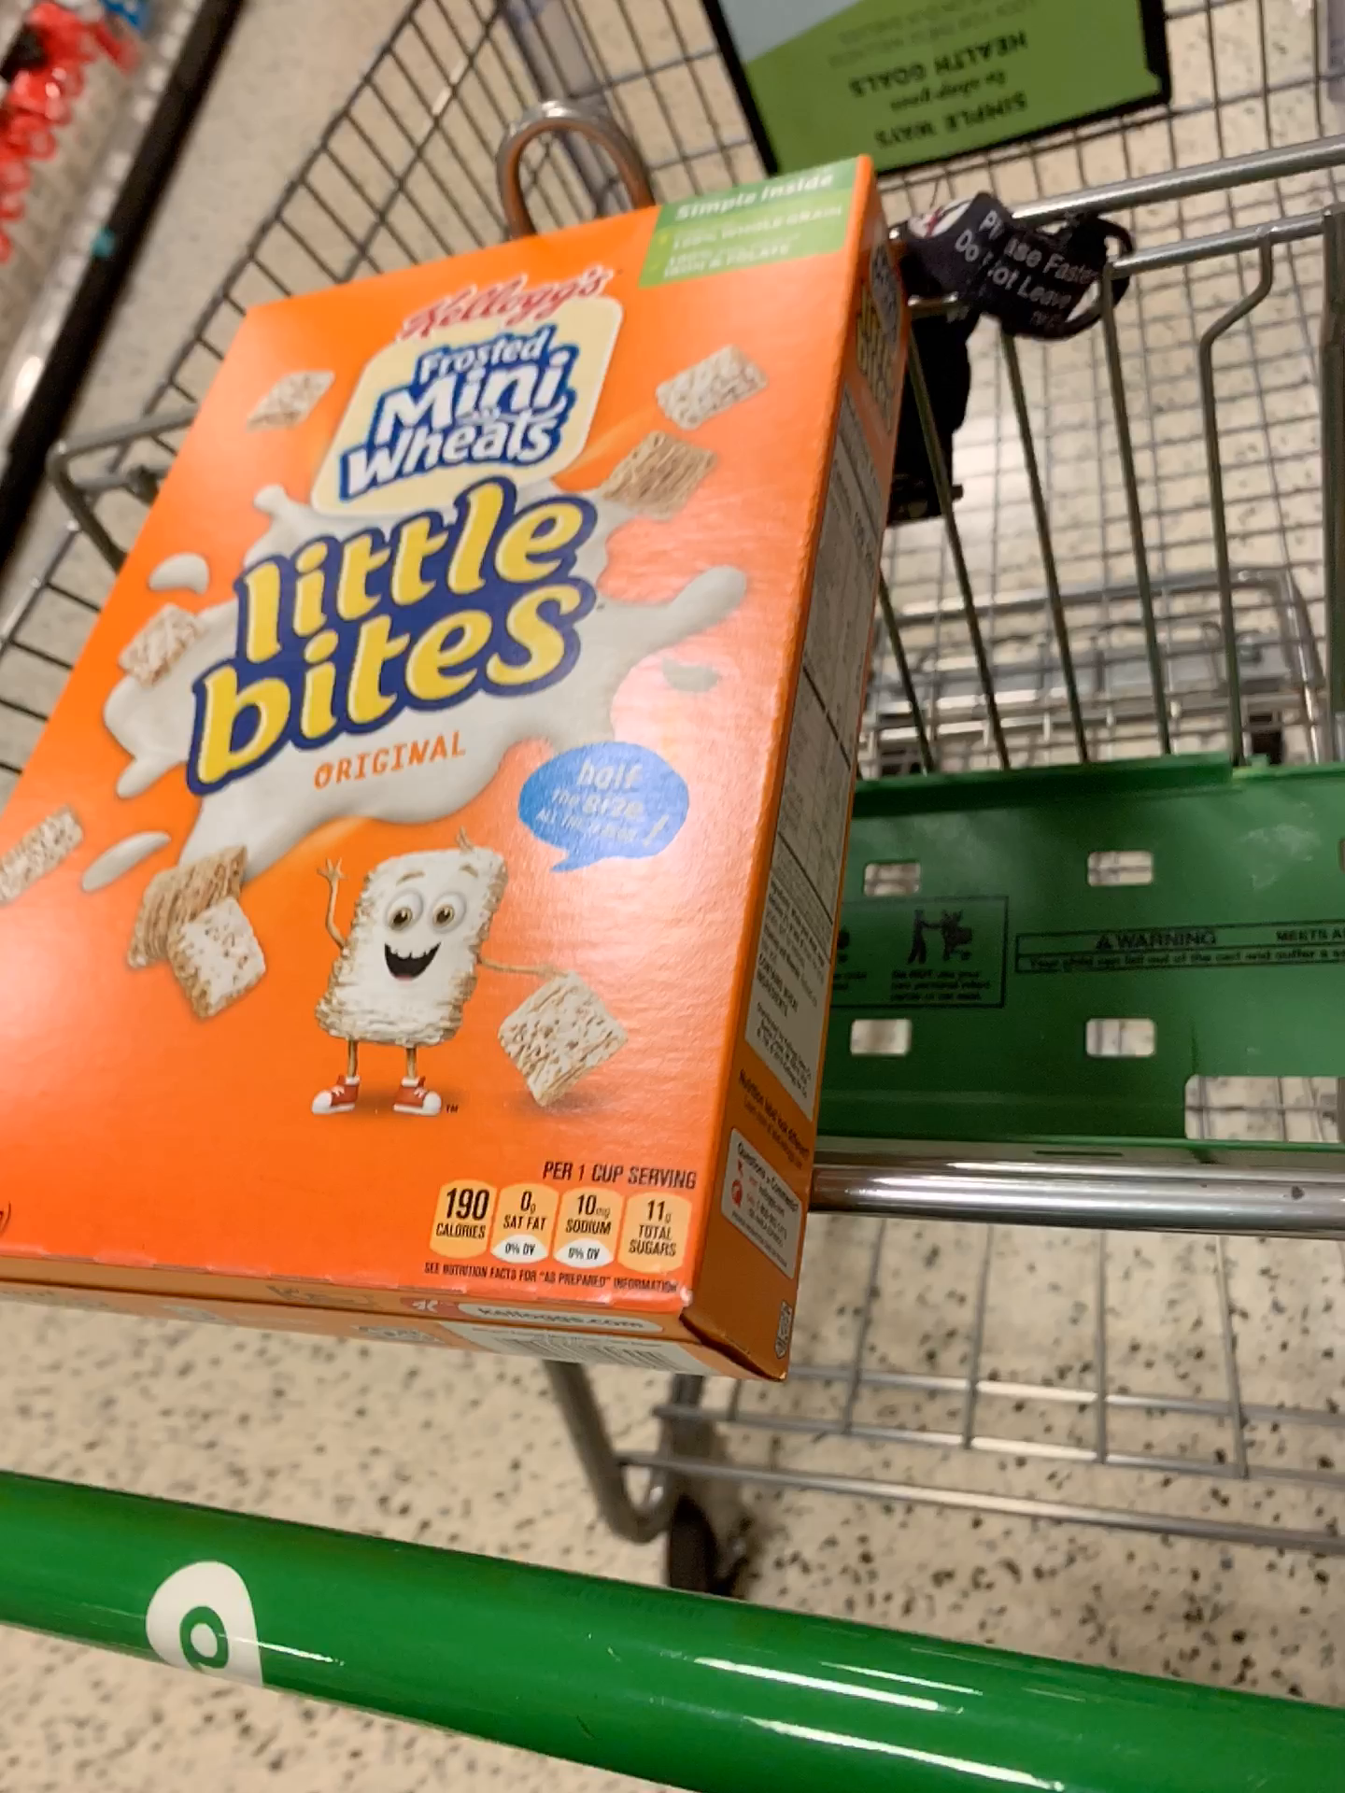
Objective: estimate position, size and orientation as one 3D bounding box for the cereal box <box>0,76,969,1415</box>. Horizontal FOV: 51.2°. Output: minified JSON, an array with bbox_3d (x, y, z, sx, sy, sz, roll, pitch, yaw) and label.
[{"bbox_3d":[-0.048,-0.056,0.348,0.210,0.059,0.322,-3,57,23],"label":"cereal box"}]
